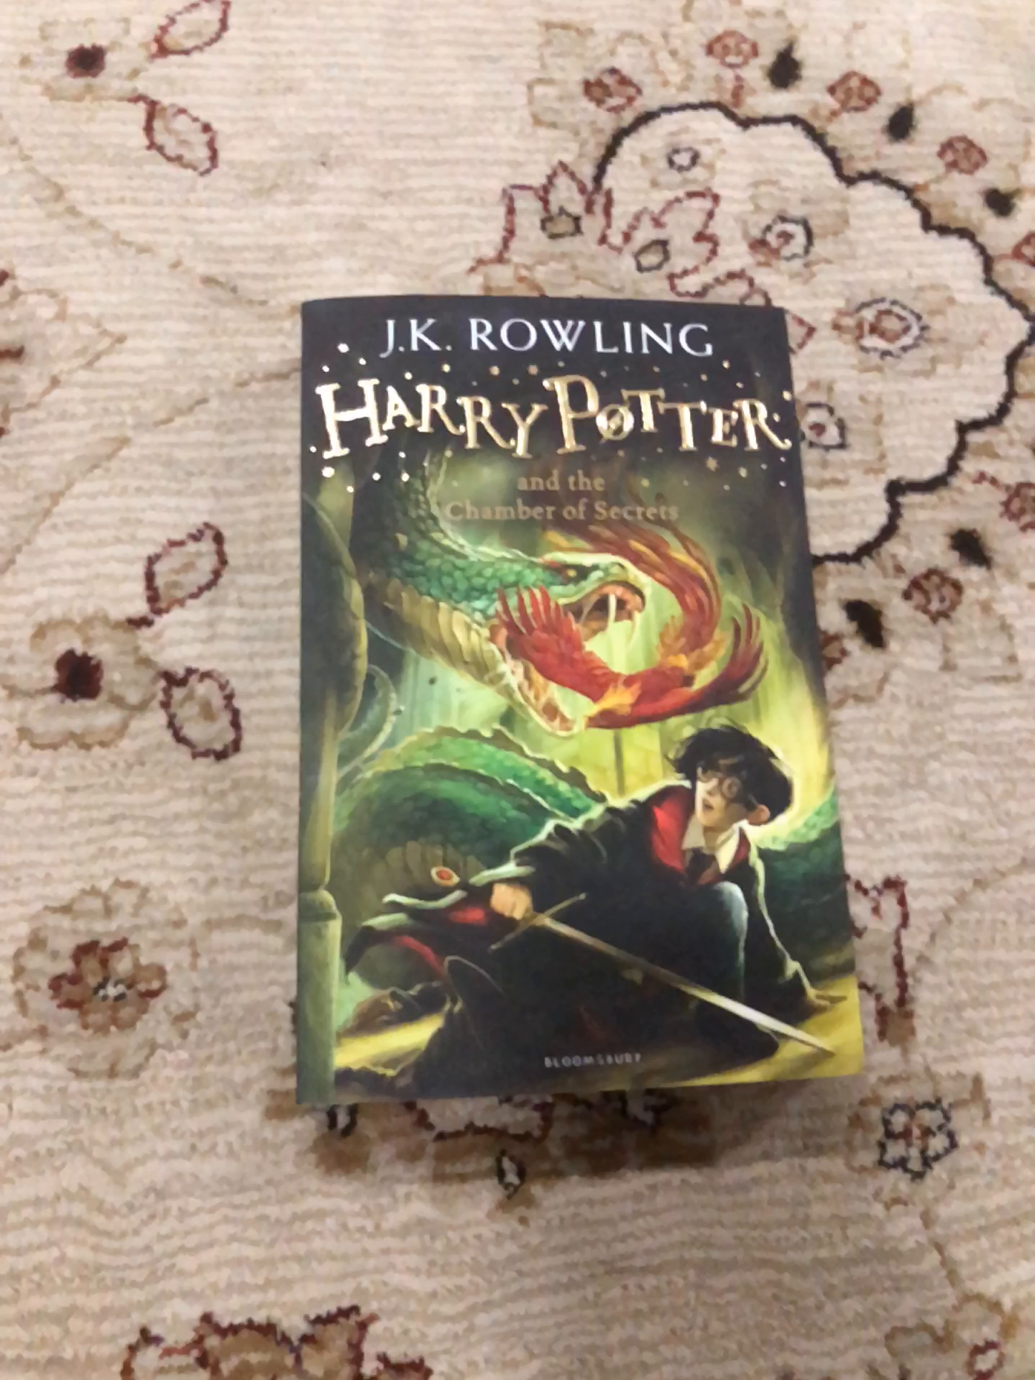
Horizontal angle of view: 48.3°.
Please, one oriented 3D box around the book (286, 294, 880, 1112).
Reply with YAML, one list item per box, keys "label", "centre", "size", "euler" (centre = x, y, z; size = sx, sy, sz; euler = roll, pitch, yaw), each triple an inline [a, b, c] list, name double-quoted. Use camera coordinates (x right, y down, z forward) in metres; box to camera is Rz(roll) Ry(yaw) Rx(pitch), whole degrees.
- label: "book"
  centre: [0.010, -0.004, 0.293]
  size: [0.131, 0.030, 0.200]
  euler: [-1, 75, -5]
